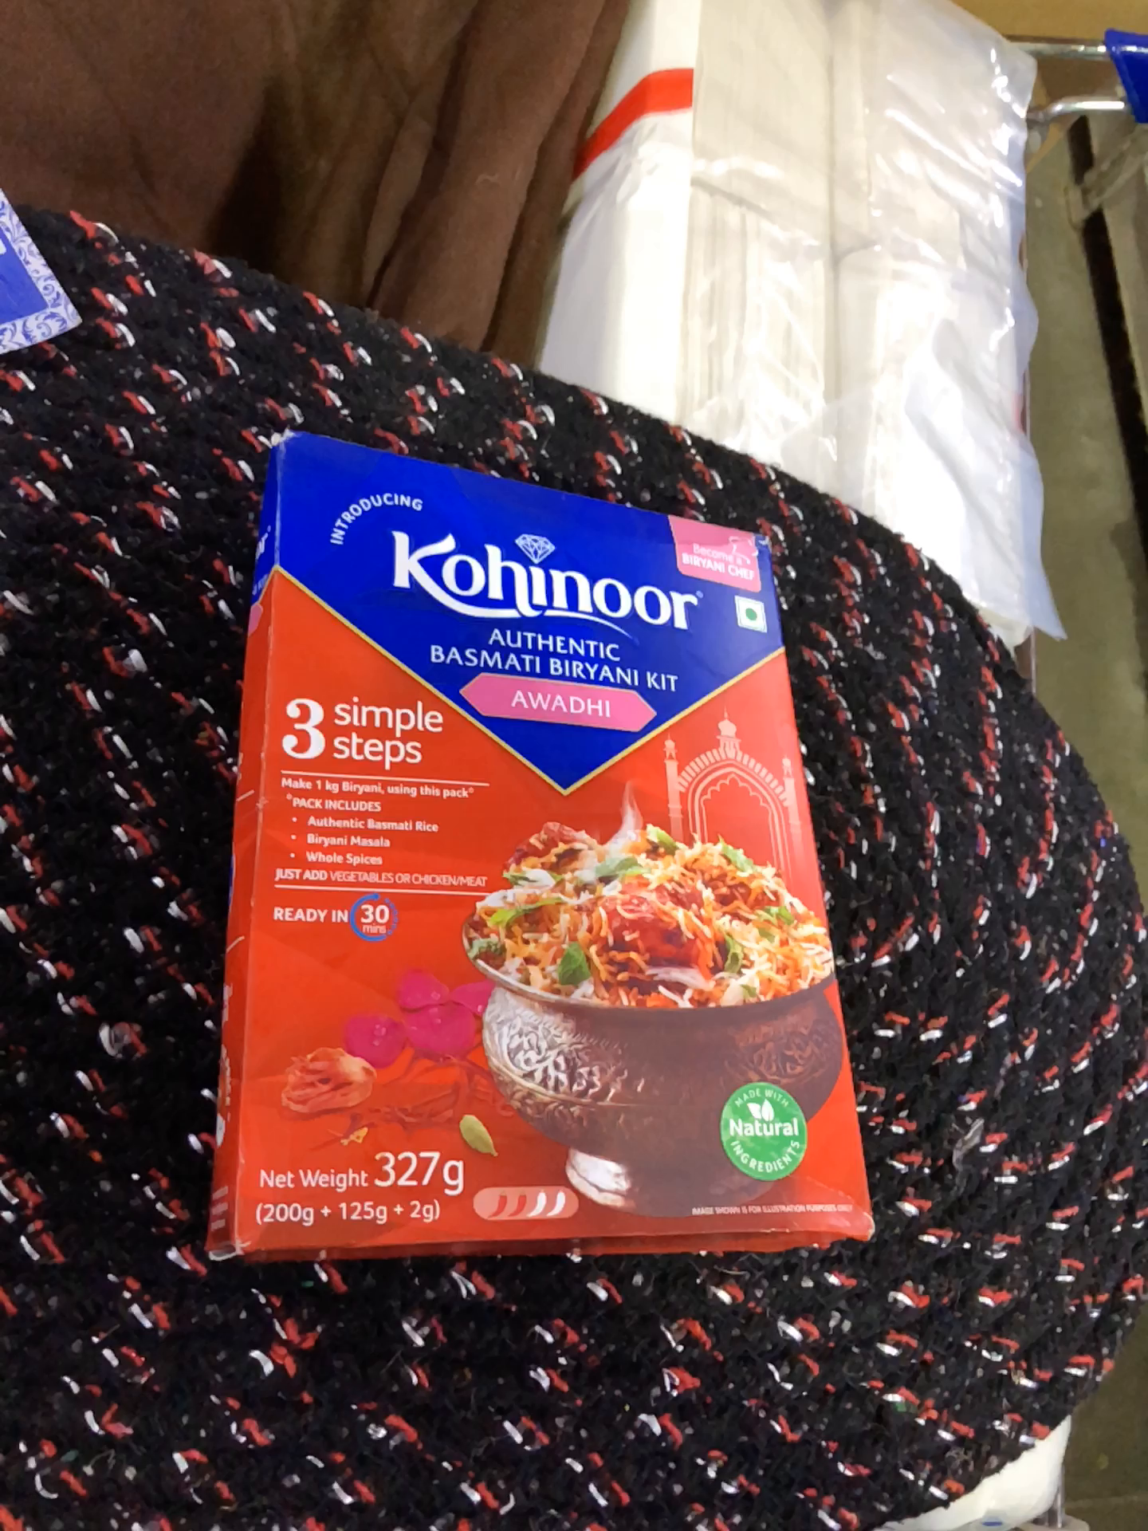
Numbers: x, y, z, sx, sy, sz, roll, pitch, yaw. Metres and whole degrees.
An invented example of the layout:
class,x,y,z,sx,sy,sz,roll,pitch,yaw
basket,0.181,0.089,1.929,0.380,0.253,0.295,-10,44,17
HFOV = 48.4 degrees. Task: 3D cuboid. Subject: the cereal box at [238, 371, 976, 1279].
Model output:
class,x,y,z,sx,sy,sz,roll,pitch,yaw
cereal box,0.006,0.013,0.283,0.140,0.040,0.180,6,68,-20
